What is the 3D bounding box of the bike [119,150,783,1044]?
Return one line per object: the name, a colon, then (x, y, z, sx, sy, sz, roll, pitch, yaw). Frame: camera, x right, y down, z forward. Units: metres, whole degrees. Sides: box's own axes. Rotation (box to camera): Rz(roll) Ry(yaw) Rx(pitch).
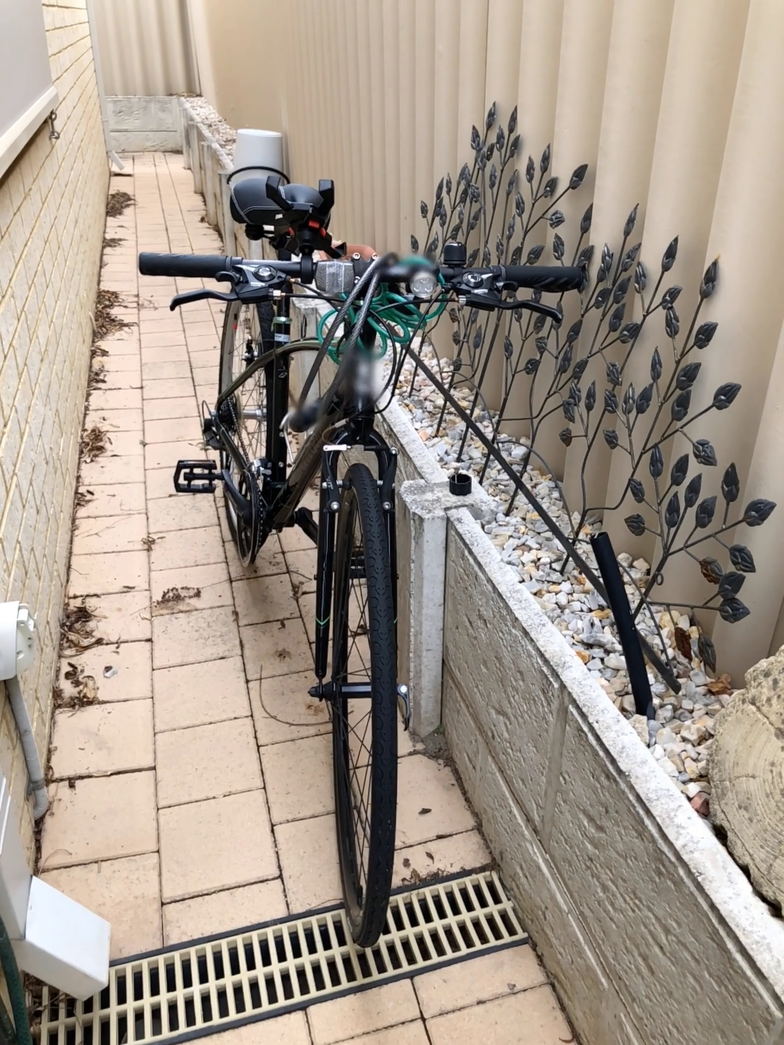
bike: (-0.130, -0.142, 1.642, 0.638, 0.859, 1.706, -7, 30, -14)
